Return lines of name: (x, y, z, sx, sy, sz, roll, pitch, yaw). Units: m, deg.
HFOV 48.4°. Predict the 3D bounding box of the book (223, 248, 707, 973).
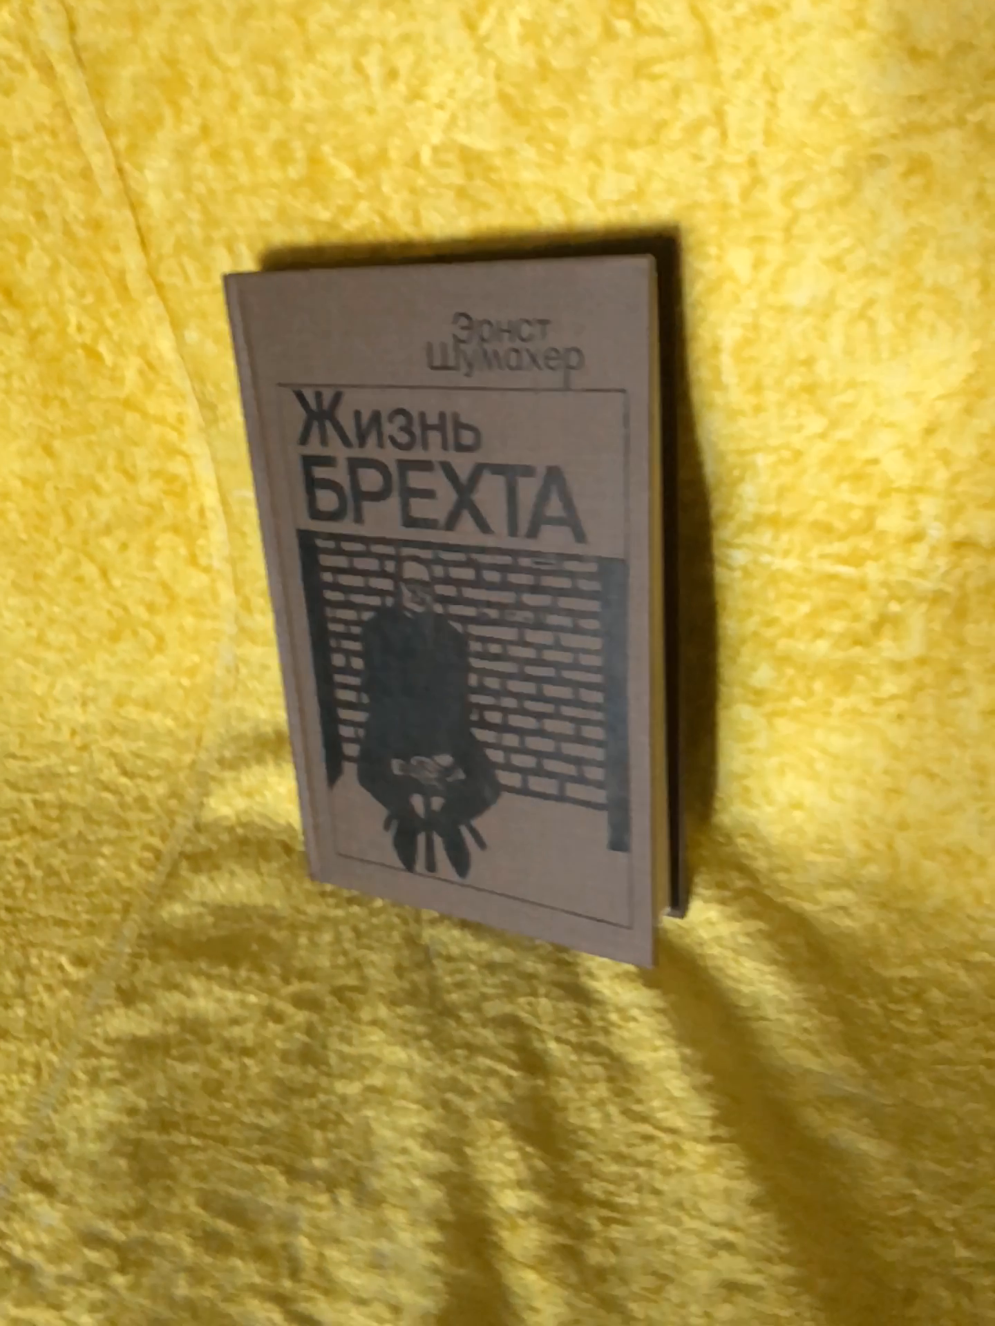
book: (-0.007, -0.015, 0.333, 0.130, 0.199, 0.033, 8, 24, 26)
